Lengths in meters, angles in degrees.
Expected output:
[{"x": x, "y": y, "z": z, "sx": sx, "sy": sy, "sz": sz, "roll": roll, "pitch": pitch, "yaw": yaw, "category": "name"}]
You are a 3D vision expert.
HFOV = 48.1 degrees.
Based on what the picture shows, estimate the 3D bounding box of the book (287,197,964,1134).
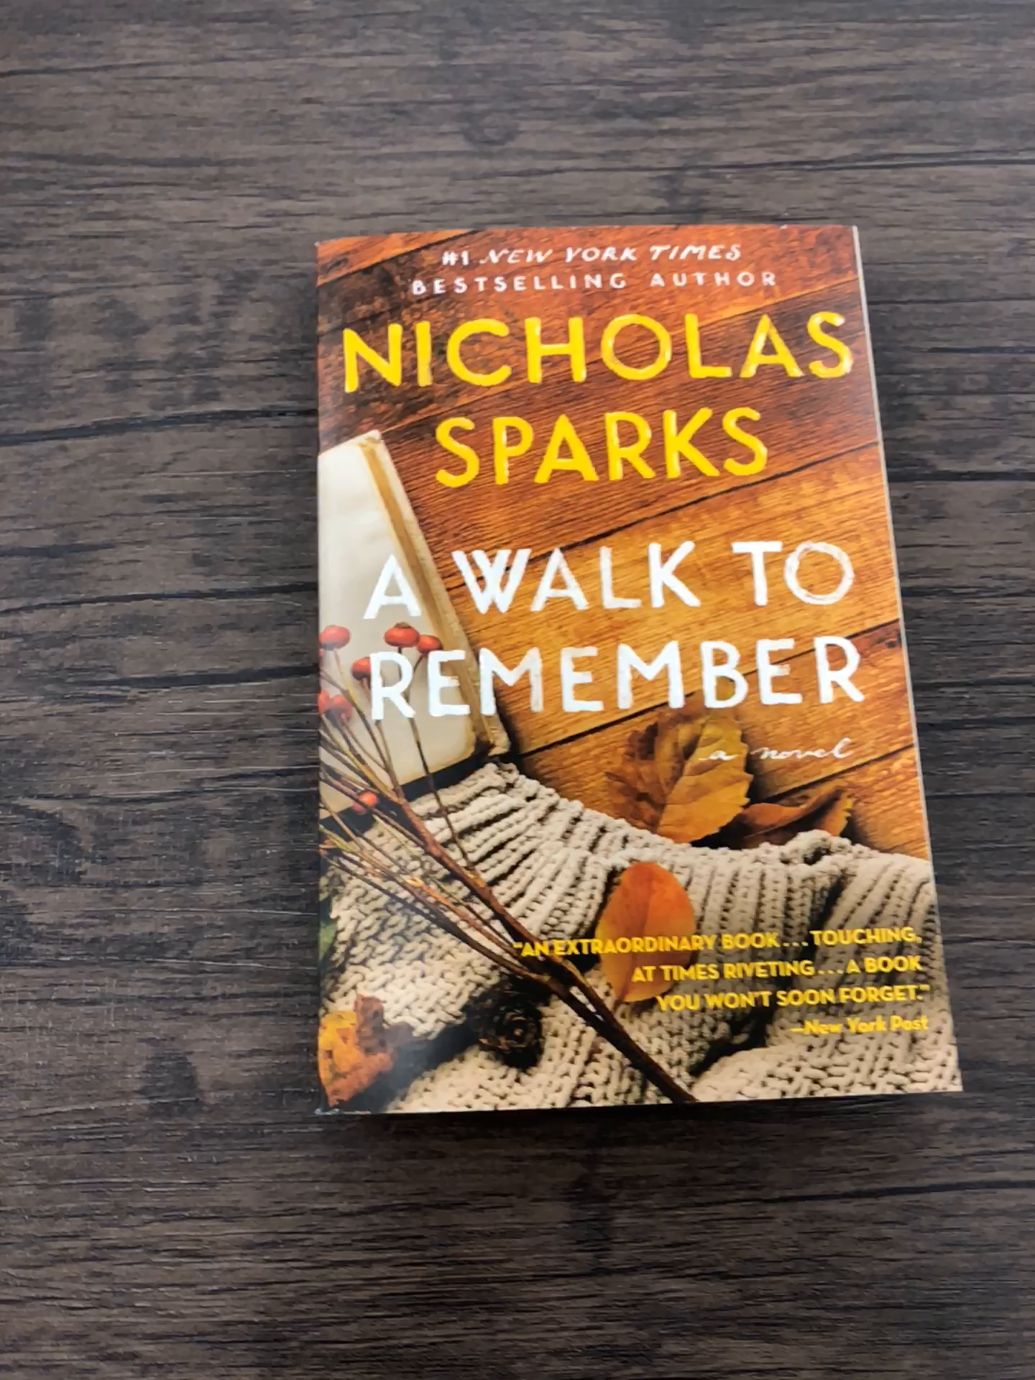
[{"x": 0.017, "y": -0.012, "z": 0.256, "sx": 0.132, "sy": 0.020, "sz": 0.200, "roll": -2, "pitch": 78, "yaw": -2, "category": "book"}]
